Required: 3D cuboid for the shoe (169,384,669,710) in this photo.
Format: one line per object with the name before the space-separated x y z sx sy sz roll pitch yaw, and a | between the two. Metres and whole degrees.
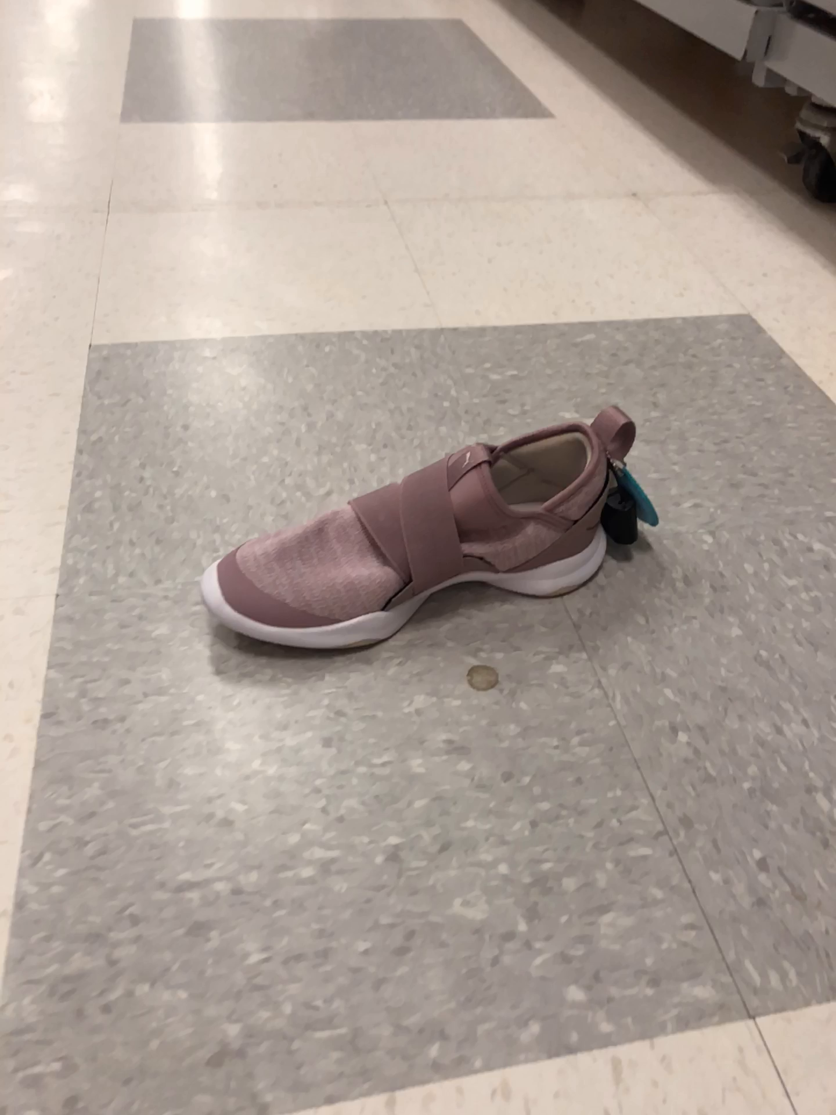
shoe | 0.002 -0.015 0.563 0.272 0.093 0.105 -15 45 -20
